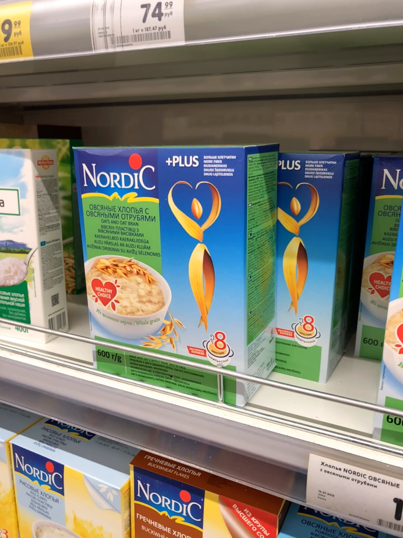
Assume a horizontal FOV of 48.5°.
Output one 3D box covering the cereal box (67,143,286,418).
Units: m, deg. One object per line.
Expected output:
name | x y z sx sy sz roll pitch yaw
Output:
cereal box | -0.019 -0.002 0.360 0.150 0.189 0.070 7 17 27
